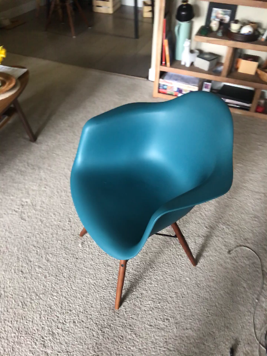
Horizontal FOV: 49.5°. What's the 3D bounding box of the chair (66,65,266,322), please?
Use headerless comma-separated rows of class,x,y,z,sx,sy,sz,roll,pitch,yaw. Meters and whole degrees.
chair,0.088,0.068,1.261,0.482,0.844,0.572,-21,48,-26
